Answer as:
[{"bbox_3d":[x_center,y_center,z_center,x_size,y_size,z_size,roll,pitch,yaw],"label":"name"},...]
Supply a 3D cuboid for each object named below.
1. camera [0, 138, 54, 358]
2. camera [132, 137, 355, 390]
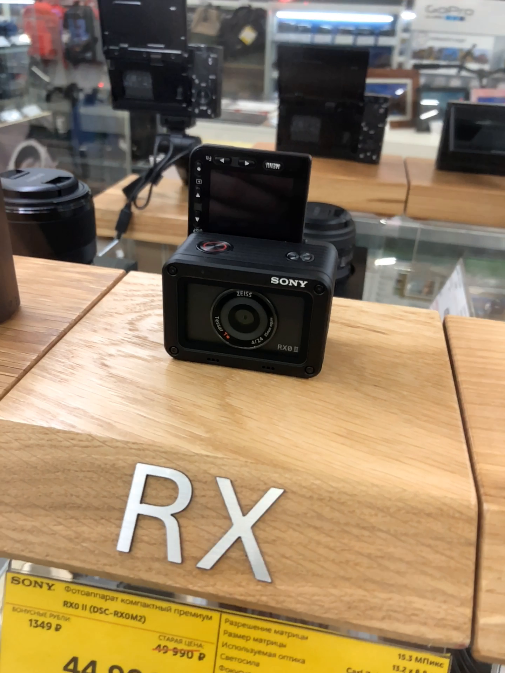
[{"bbox_3d":[-0.144,-0.038,0.229,0.105,0.067,0.041,8,30,8],"label":"camera"},{"bbox_3d":[-0.001,-0.028,0.197,0.062,0.067,0.050,8,30,8],"label":"camera"}]
